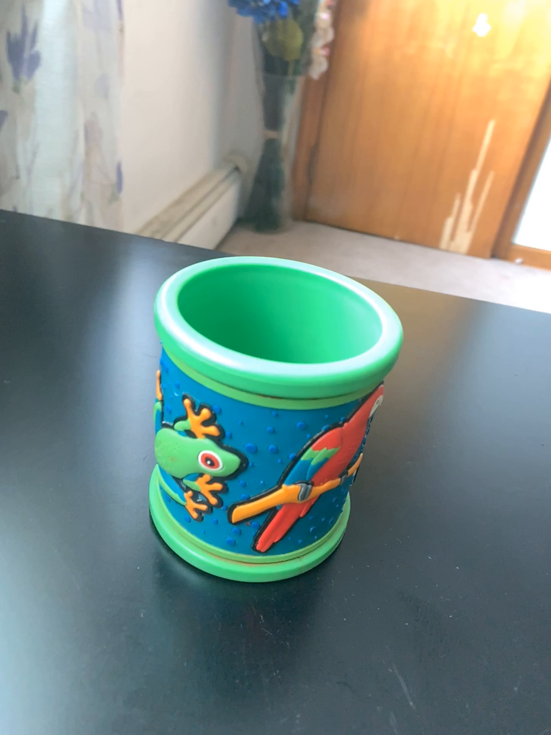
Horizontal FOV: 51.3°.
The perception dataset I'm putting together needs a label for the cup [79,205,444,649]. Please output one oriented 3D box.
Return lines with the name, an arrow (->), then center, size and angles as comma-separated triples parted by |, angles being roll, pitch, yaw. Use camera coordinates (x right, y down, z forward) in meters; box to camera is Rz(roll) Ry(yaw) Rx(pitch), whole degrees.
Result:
cup -> 0.000, 0.010, 0.220 | 0.080, 0.099, 0.121 | 20, 34, 16
